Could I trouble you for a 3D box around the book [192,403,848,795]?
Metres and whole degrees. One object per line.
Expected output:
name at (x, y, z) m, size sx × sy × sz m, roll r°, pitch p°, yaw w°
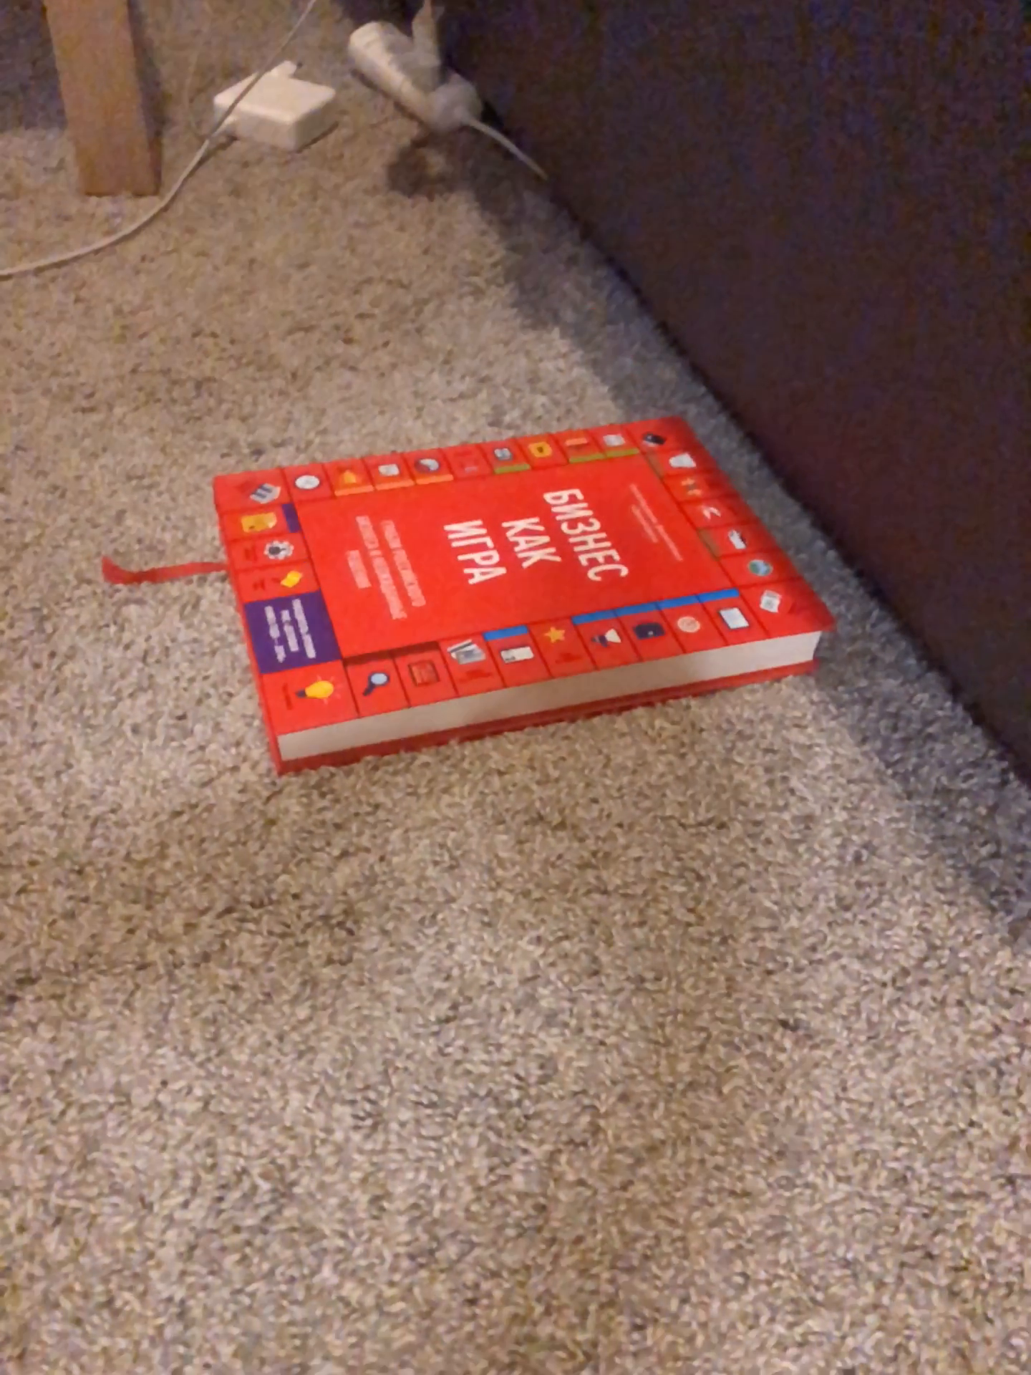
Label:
book at (-0.006, -0.054, 0.513) m, size 0.247 × 0.033 × 0.180 m, roll -11°, pitch 47°, yaw -16°
